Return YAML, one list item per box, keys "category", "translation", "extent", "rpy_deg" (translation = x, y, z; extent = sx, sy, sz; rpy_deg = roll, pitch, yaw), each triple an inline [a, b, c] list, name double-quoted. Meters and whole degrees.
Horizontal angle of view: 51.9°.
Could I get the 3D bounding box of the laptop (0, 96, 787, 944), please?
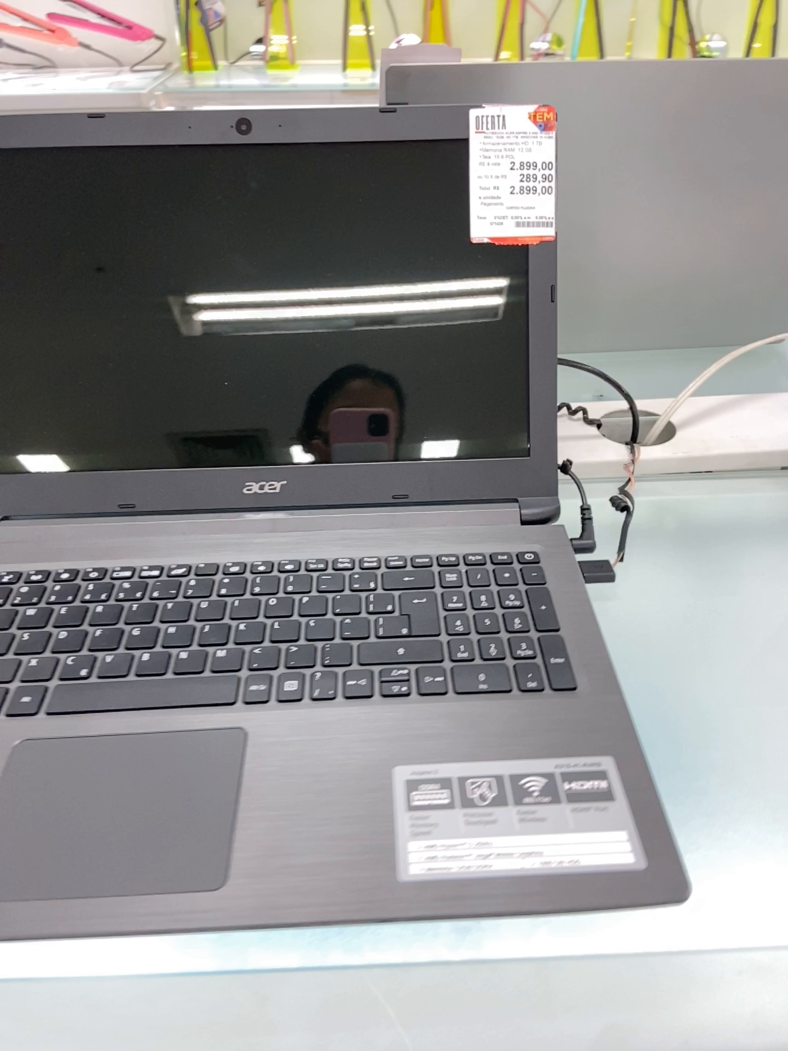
- category: "laptop"
  translation: [-0.077, -0.048, 0.365]
  extent: [0.340, 0.194, 0.355]
  rpy_deg: [-2, 37, -1]
